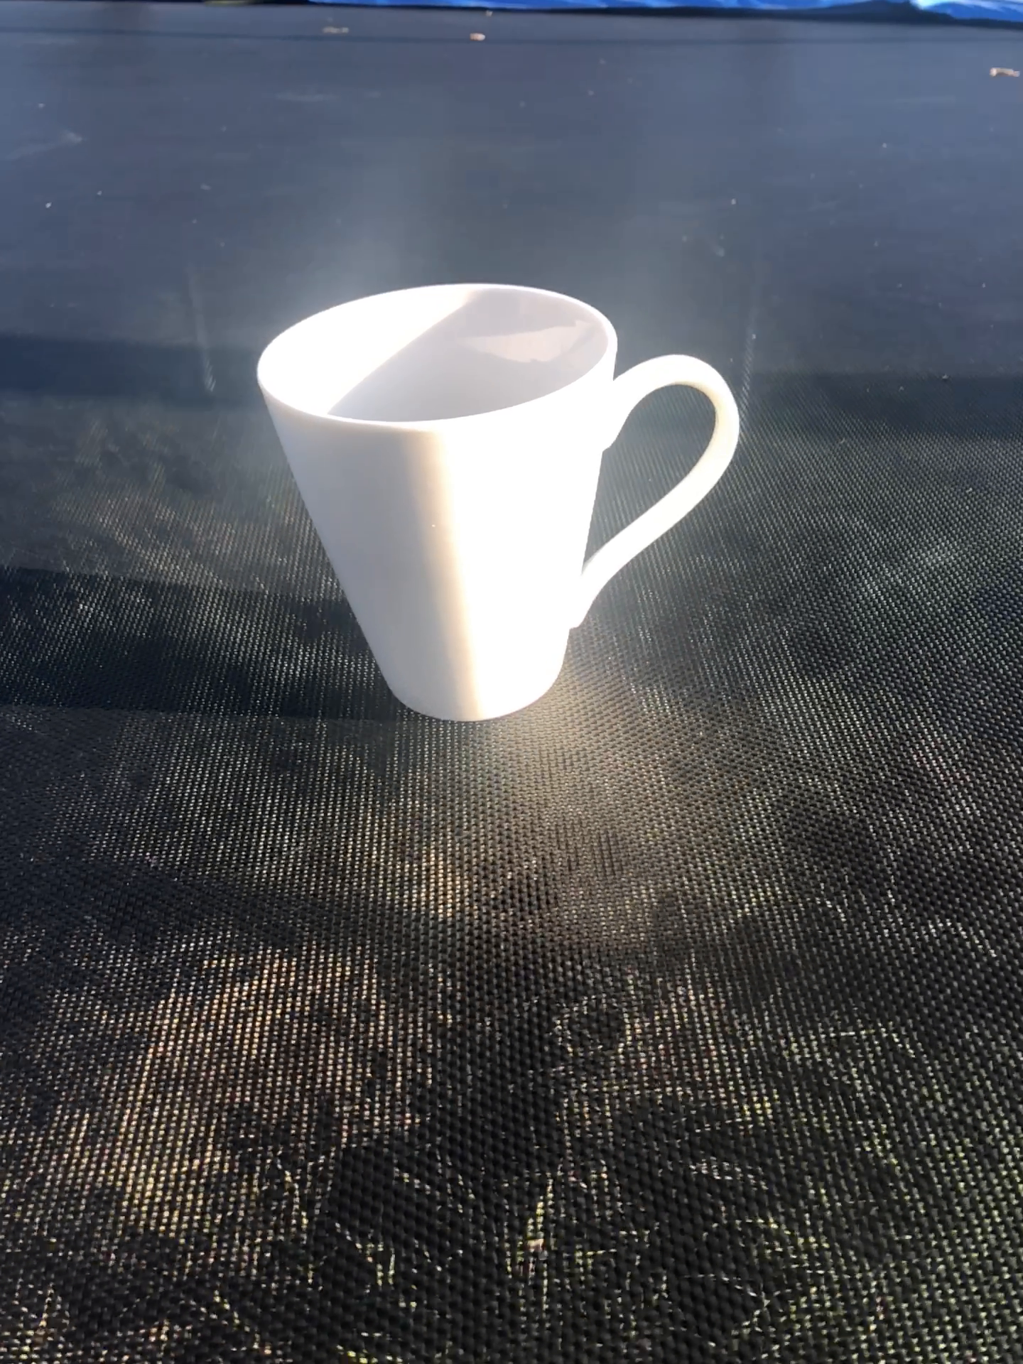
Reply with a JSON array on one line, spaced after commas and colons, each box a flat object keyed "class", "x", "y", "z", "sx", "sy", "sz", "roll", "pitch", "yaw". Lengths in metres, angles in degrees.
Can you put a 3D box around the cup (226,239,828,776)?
[{"class": "cup", "x": 0.005, "y": -0.050, "z": 0.308, "sx": 0.129, "sy": 0.094, "sz": 0.097, "roll": -8, "pitch": 36, "yaw": 0}]
